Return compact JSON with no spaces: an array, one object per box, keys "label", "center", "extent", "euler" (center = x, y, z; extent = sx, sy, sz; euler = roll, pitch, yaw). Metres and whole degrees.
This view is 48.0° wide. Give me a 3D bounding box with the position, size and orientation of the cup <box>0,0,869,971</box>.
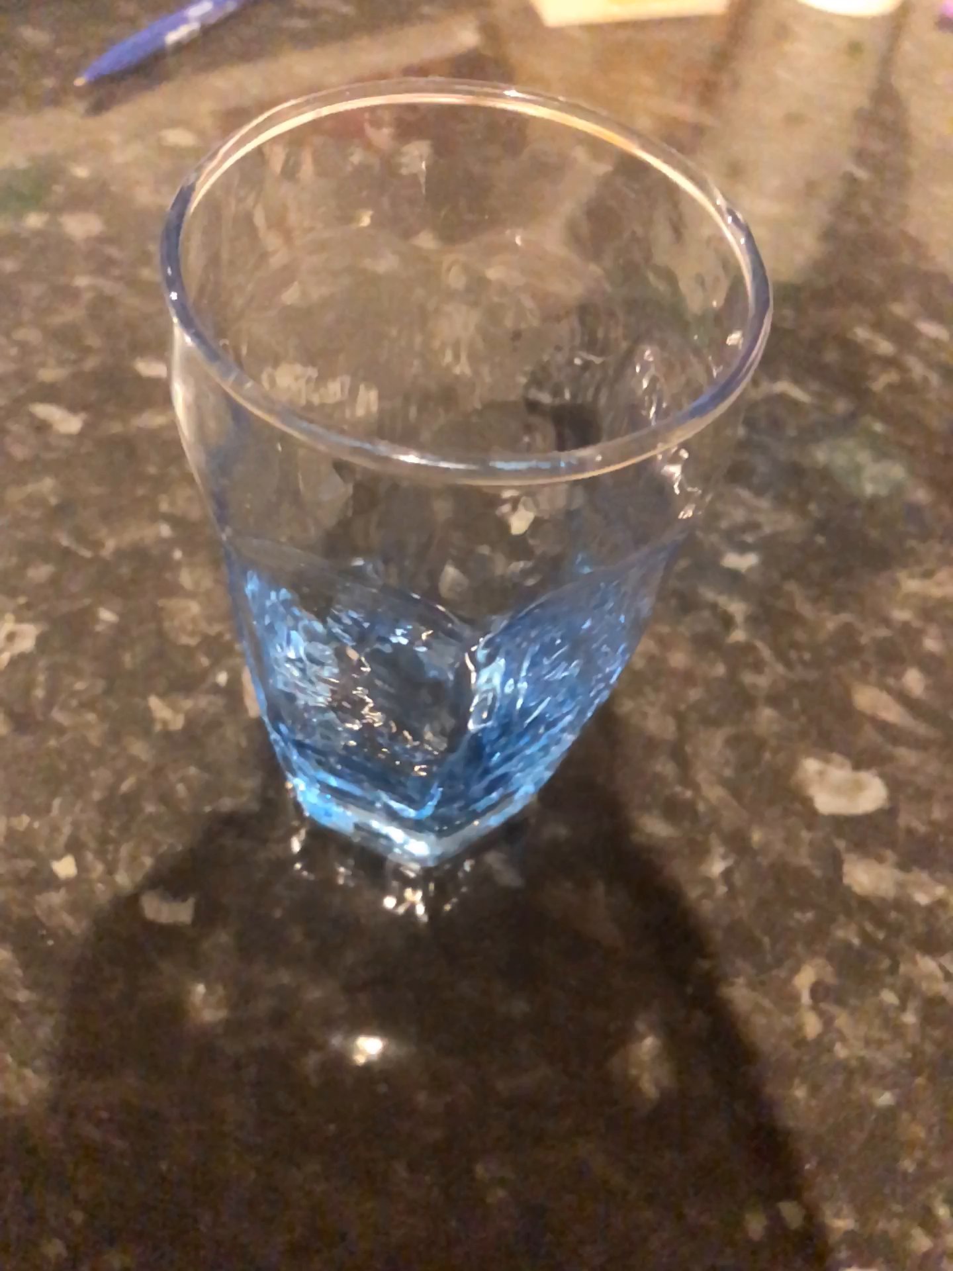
[{"label":"cup","center":[-0.011,-0.016,0.171],"extent":[0.080,0.119,0.070],"euler":[31,58,14]}]
